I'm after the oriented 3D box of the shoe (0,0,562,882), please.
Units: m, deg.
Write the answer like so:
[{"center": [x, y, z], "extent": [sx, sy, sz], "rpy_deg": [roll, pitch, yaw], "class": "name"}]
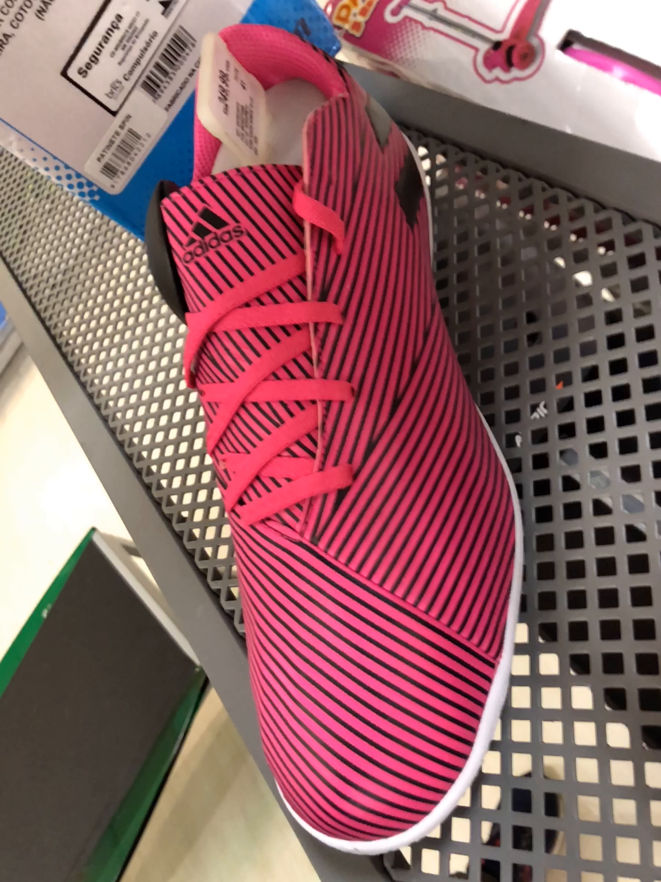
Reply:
[{"center": [-0.011, -0.017, 0.230], "extent": [0.096, 0.099, 0.261], "rpy_deg": [-19, 59, 34], "class": "shoe"}]
